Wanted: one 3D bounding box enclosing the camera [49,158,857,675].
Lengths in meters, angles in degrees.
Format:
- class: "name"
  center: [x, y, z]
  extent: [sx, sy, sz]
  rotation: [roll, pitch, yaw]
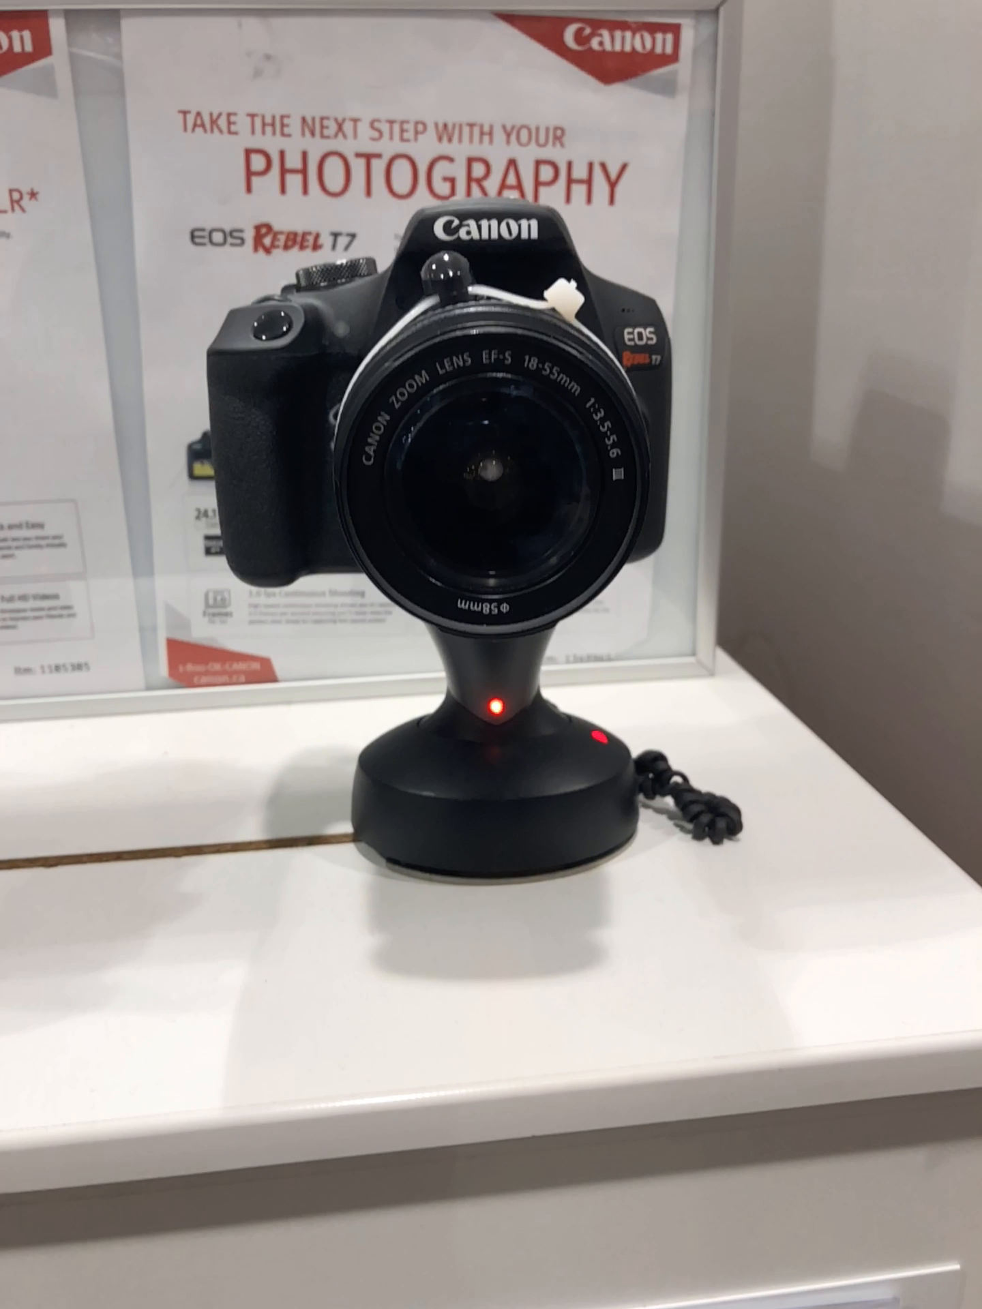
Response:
- class: "camera"
  center: [-0.008, -0.064, 0.275]
  extent: [0.140, 0.090, 0.151]
  rotation: [-2, 17, -2]
